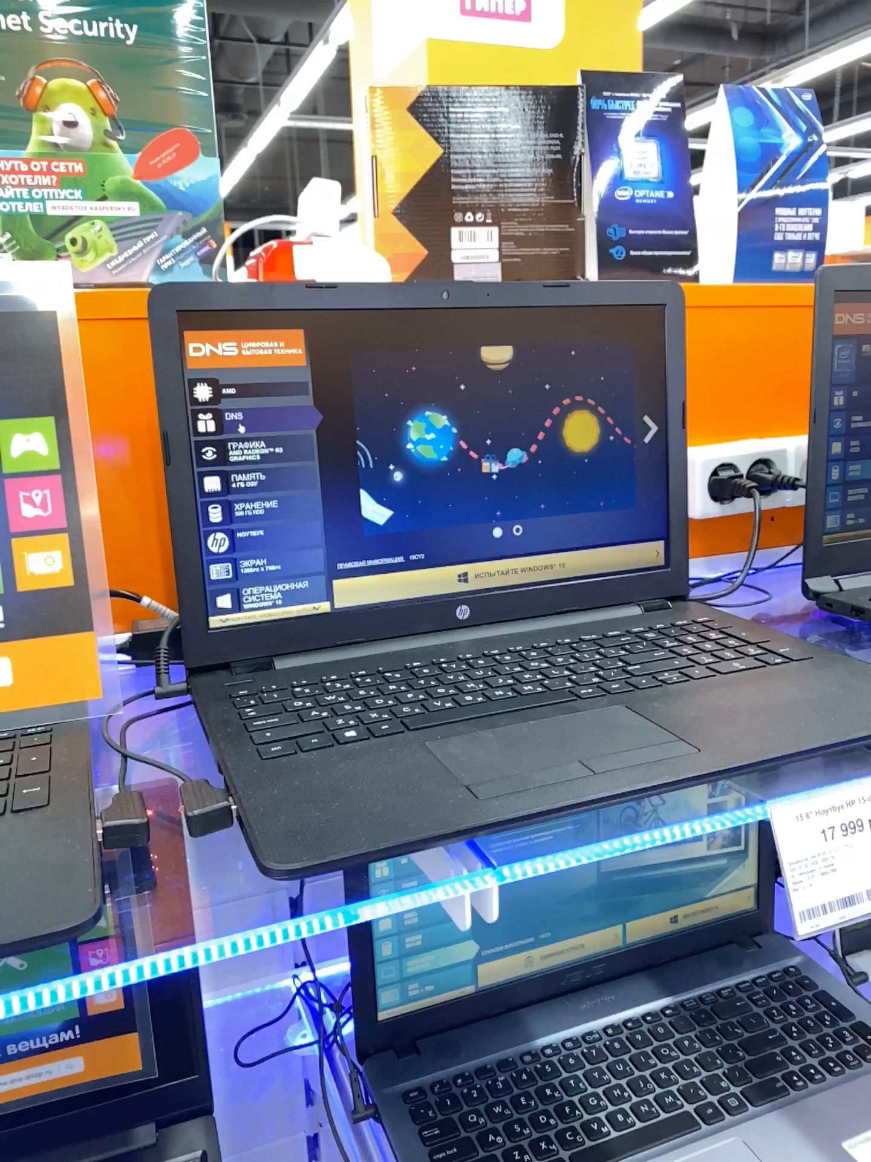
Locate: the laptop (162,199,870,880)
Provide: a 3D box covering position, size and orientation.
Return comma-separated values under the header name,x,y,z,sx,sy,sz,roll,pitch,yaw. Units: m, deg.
name,x,y,z,sx,sy,sz,roll,pitch,yaw
laptop,0.063,-0.053,0.491,0.369,0.231,0.272,-6,14,-21
